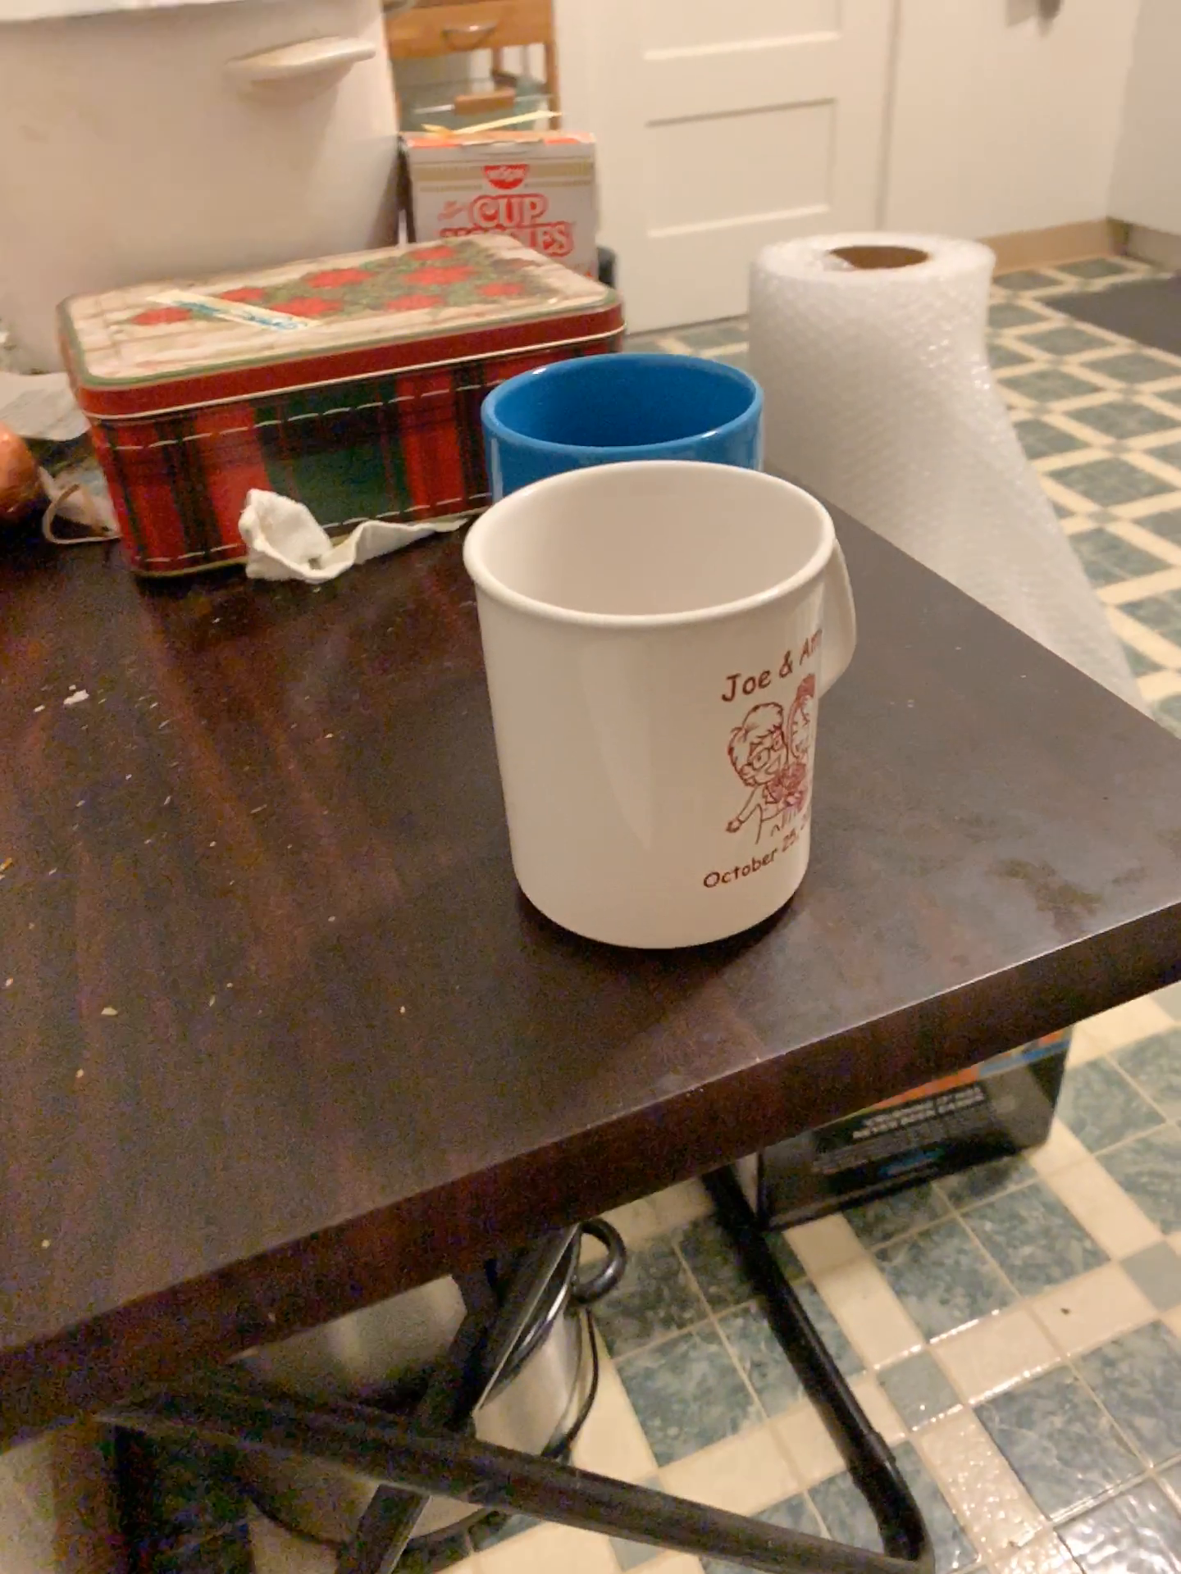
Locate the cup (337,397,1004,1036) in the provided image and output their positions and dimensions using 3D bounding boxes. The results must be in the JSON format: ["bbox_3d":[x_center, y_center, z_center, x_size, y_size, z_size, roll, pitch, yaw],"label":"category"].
[{"bbox_3d":[0.021,-0.026,0.299,0.120,0.089,0.090,-29,43,-30],"label":"cup"}]

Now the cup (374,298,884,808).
[{"bbox_3d":[0.019,-0.083,0.392,0.090,0.099,0.140,20,43,30],"label":"cup"}]
